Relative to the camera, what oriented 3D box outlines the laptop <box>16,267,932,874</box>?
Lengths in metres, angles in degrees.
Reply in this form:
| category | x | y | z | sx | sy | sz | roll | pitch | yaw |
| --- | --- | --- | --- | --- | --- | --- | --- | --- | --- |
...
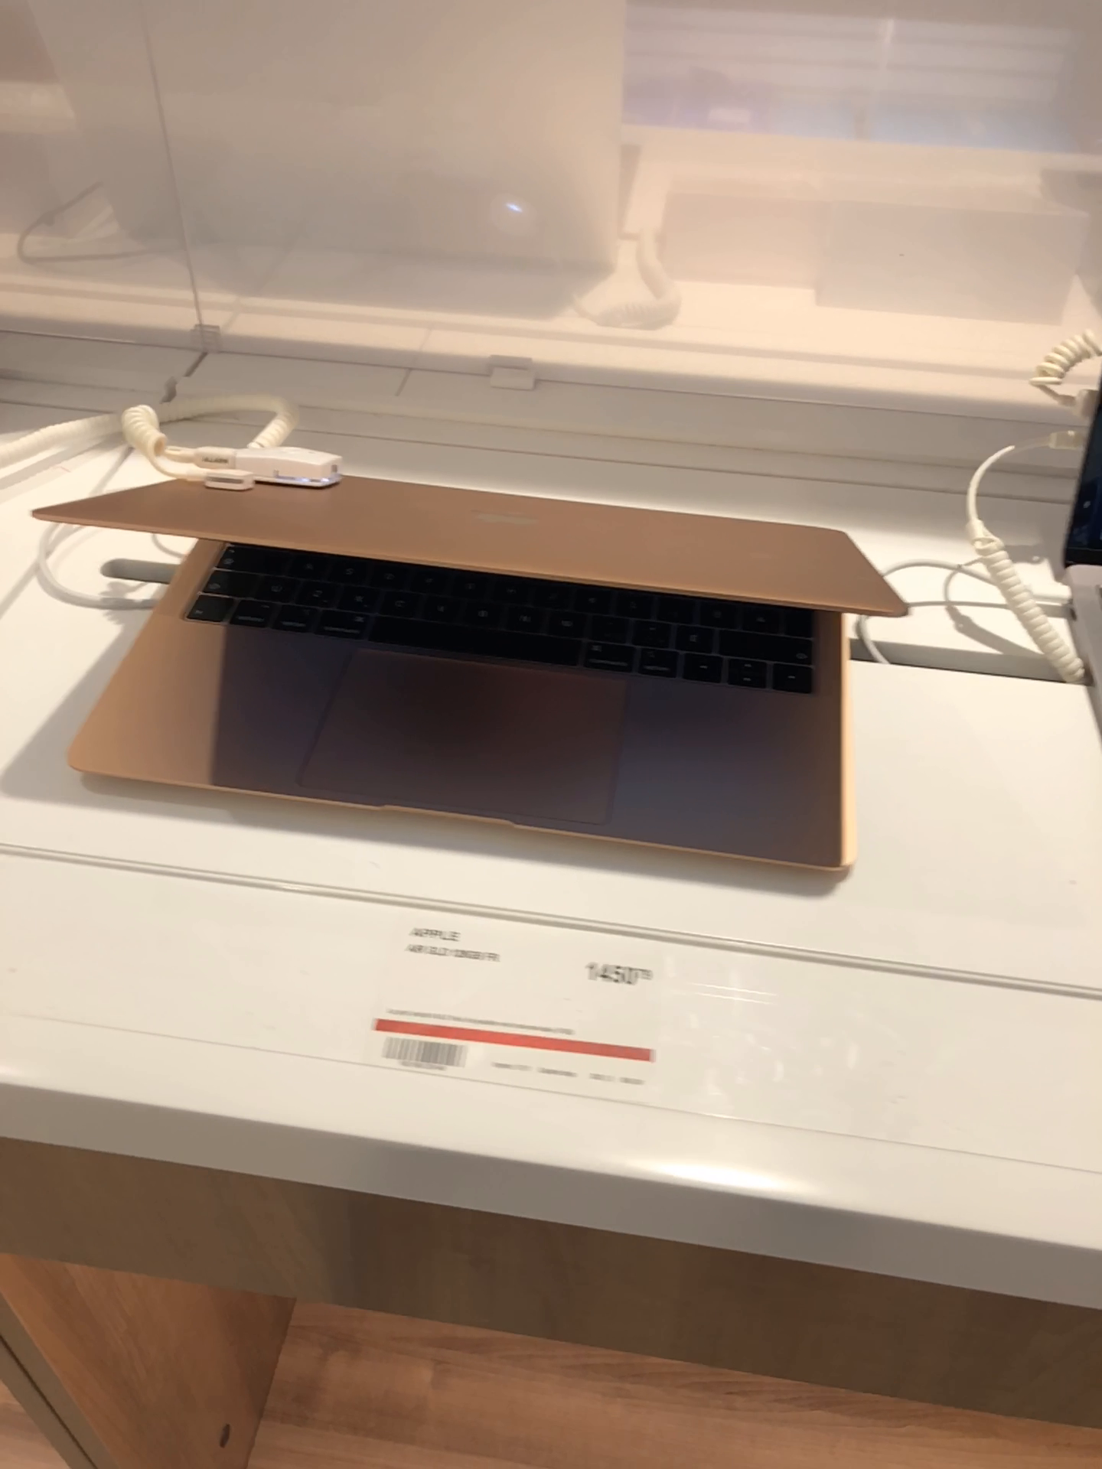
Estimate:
| category | x | y | z | sx | sy | sz | roll | pitch | yaw |
| --- | --- | --- | --- | --- | --- | --- | --- | --- | --- |
| laptop | -0.022 | -0.087 | 0.499 | 0.298 | 0.104 | 0.226 | 7 | 42 | 8 |
